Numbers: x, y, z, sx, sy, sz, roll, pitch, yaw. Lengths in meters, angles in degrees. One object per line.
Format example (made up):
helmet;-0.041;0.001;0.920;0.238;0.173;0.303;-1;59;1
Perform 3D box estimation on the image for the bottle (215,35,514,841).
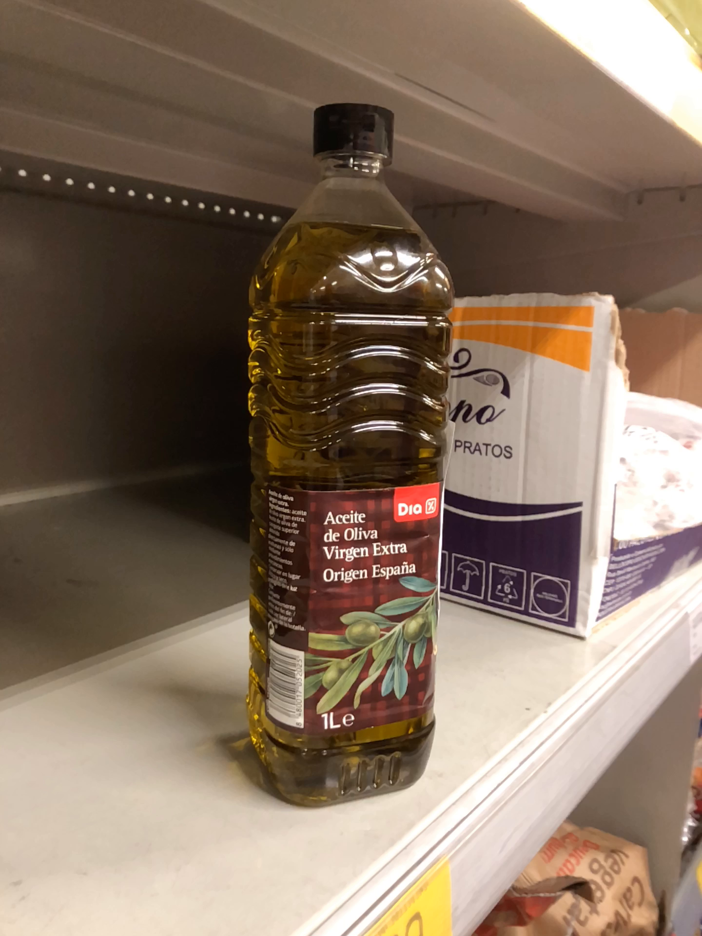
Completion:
bottle;-0.001;-0.006;0.316;0.080;0.279;0.070;-1;10;-26
